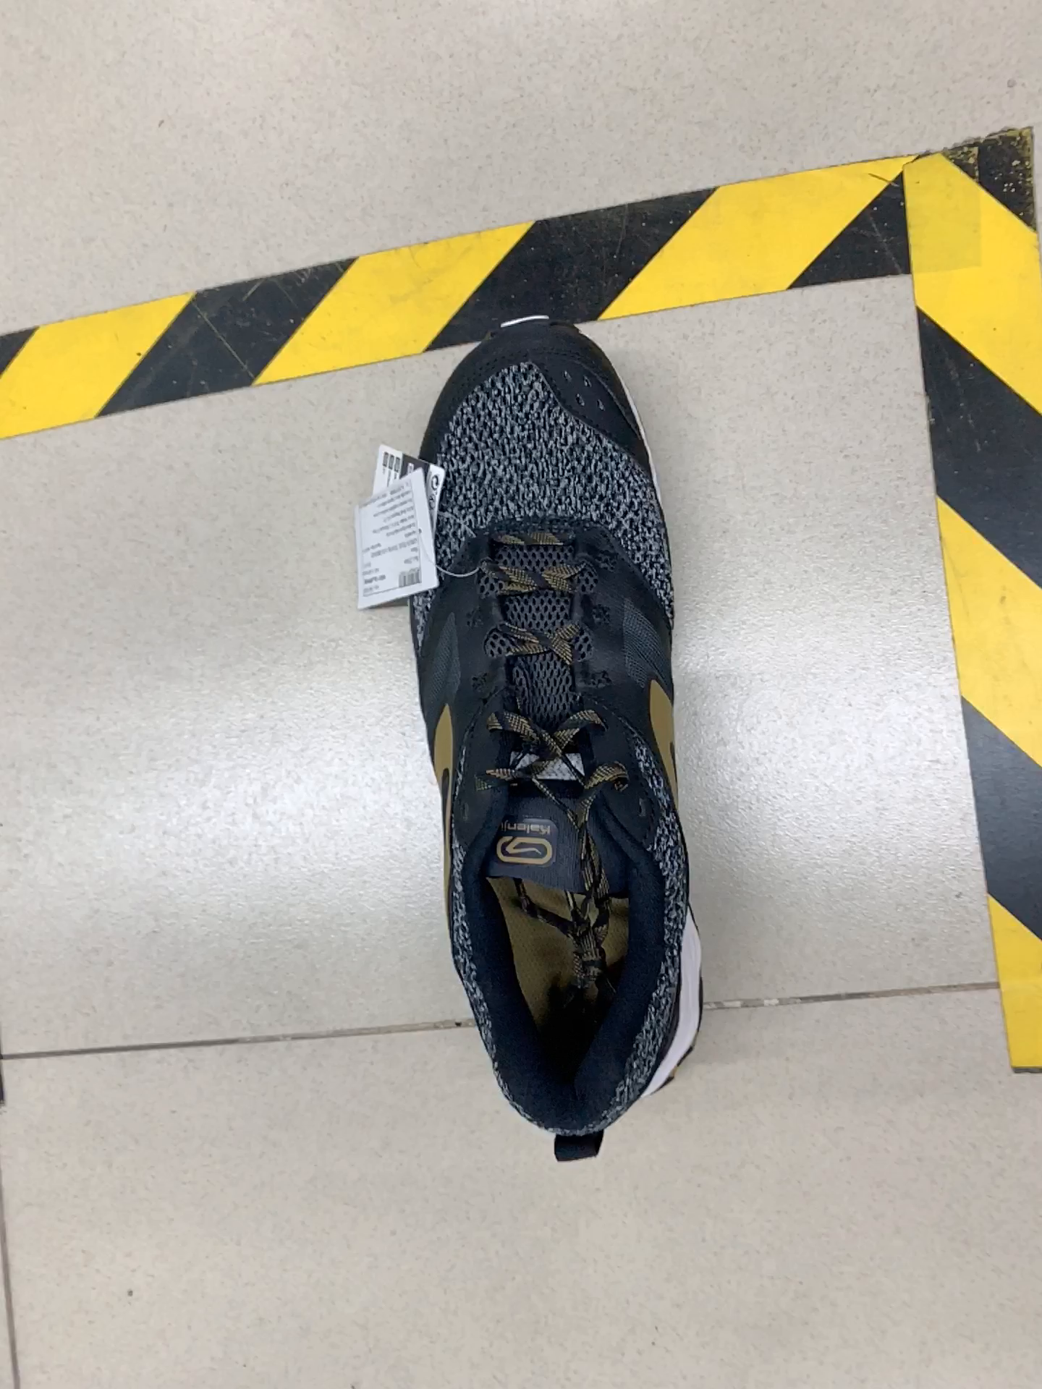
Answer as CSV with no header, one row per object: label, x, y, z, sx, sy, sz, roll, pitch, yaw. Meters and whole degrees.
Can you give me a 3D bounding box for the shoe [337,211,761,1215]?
shoe,0.013,0.008,0.378,0.110,0.100,0.300,-4,87,9
